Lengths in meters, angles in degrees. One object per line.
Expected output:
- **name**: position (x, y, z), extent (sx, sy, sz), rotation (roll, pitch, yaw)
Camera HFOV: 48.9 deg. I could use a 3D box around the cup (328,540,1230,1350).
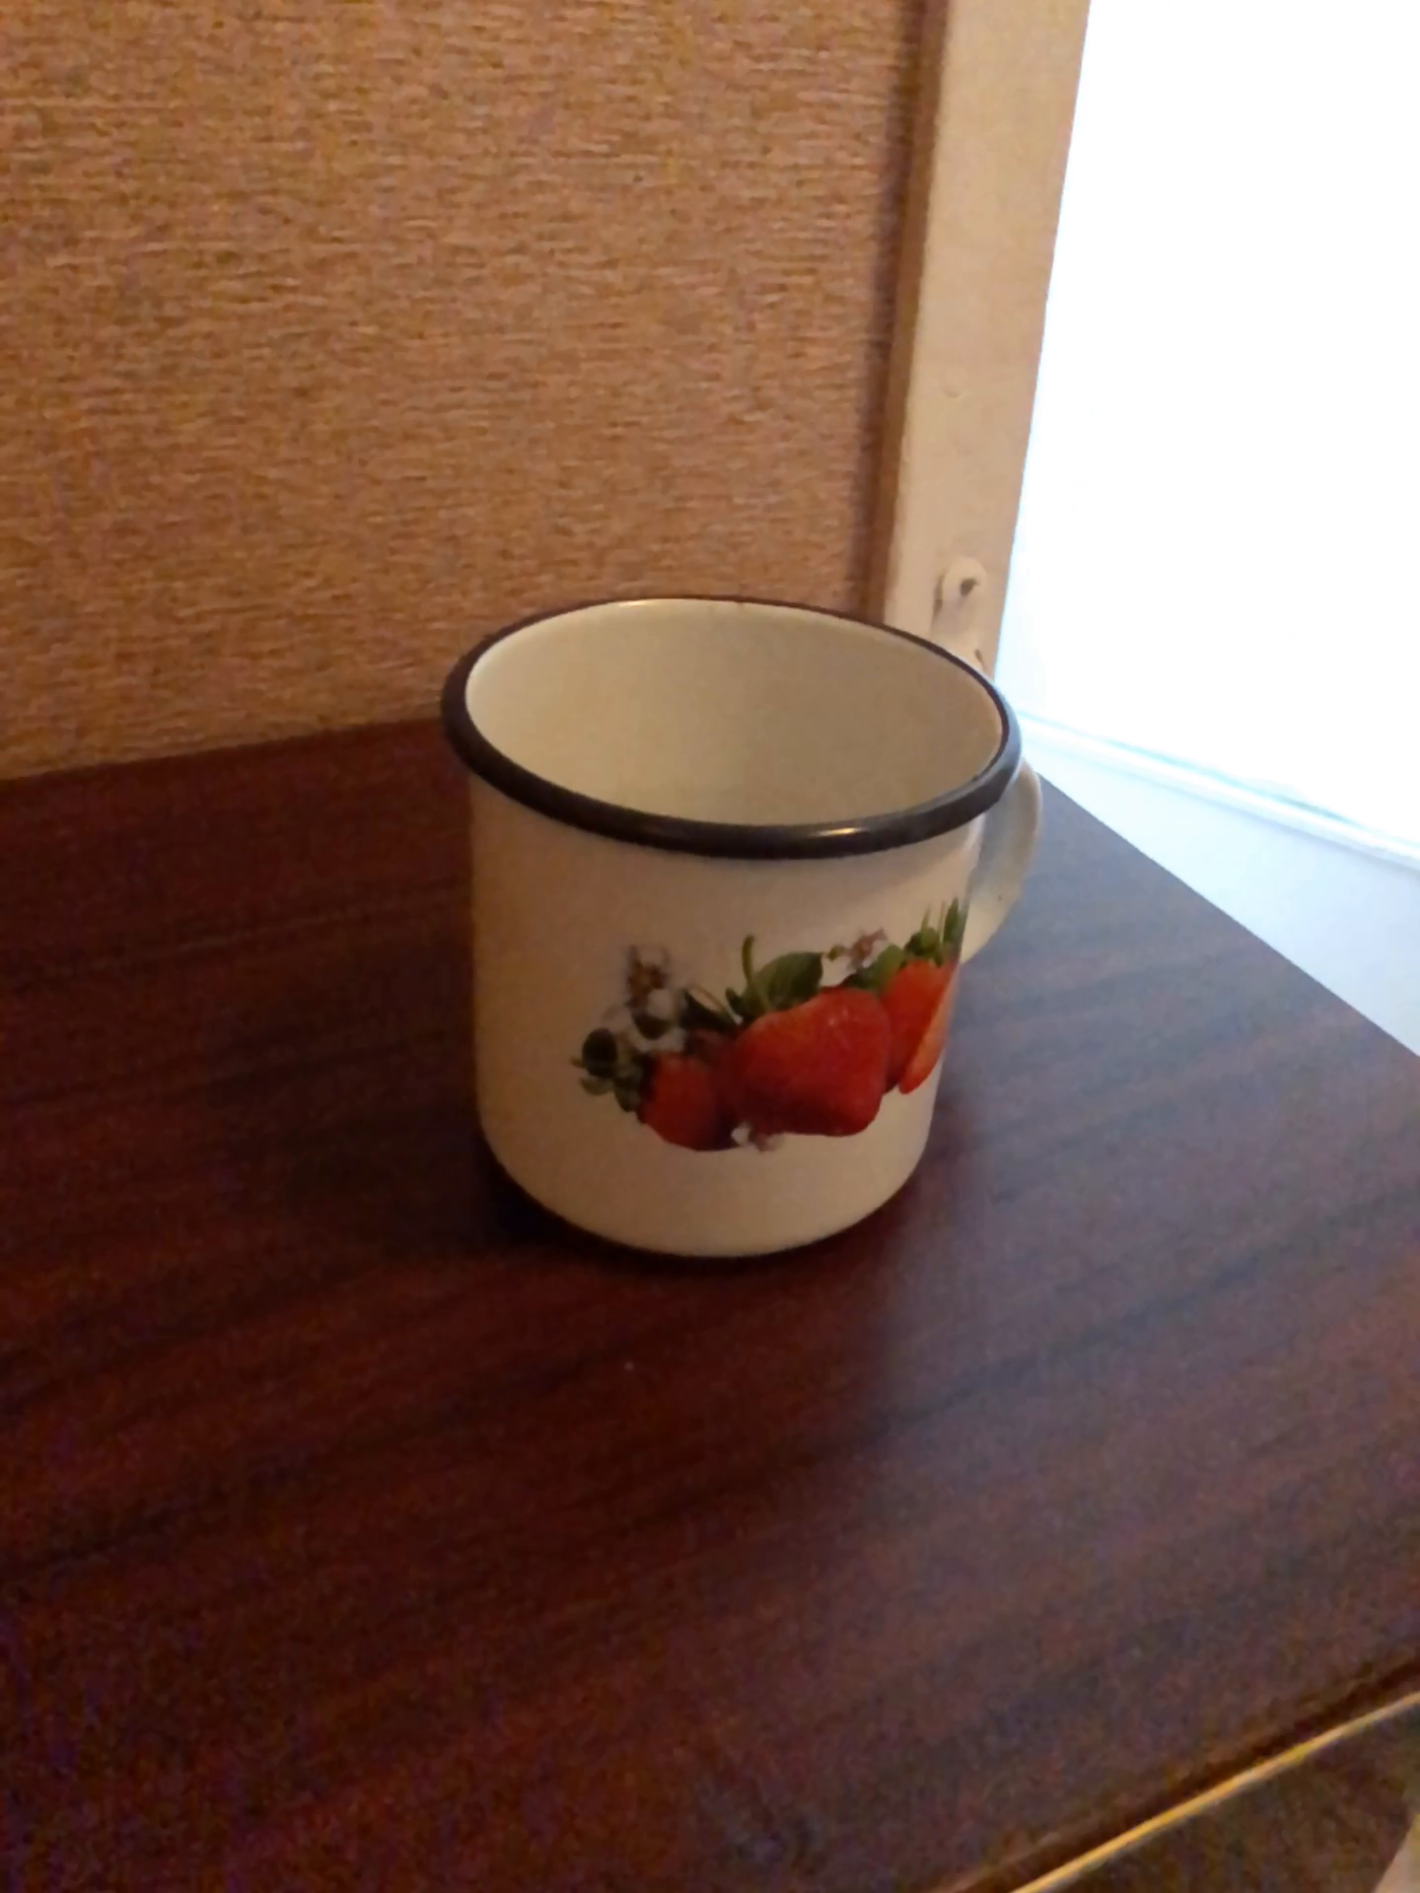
- **cup**: position (0.010, -0.013, 0.366), extent (0.156, 0.113, 0.119), rotation (-15, 36, -26)
